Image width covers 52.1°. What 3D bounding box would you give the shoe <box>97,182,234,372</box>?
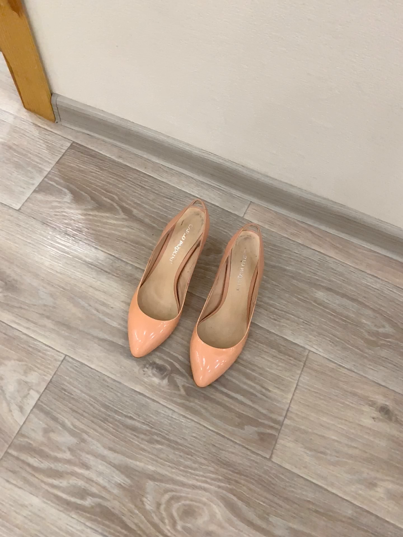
[{"bbox_3d":[-0.047,0.013,0.611,0.090,0.120,0.240,23,66,6],"label":"shoe"}]

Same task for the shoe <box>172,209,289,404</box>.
[{"bbox_3d":[0.041,0.055,0.594,0.090,0.120,0.240,18,65,3],"label":"shoe"}]
